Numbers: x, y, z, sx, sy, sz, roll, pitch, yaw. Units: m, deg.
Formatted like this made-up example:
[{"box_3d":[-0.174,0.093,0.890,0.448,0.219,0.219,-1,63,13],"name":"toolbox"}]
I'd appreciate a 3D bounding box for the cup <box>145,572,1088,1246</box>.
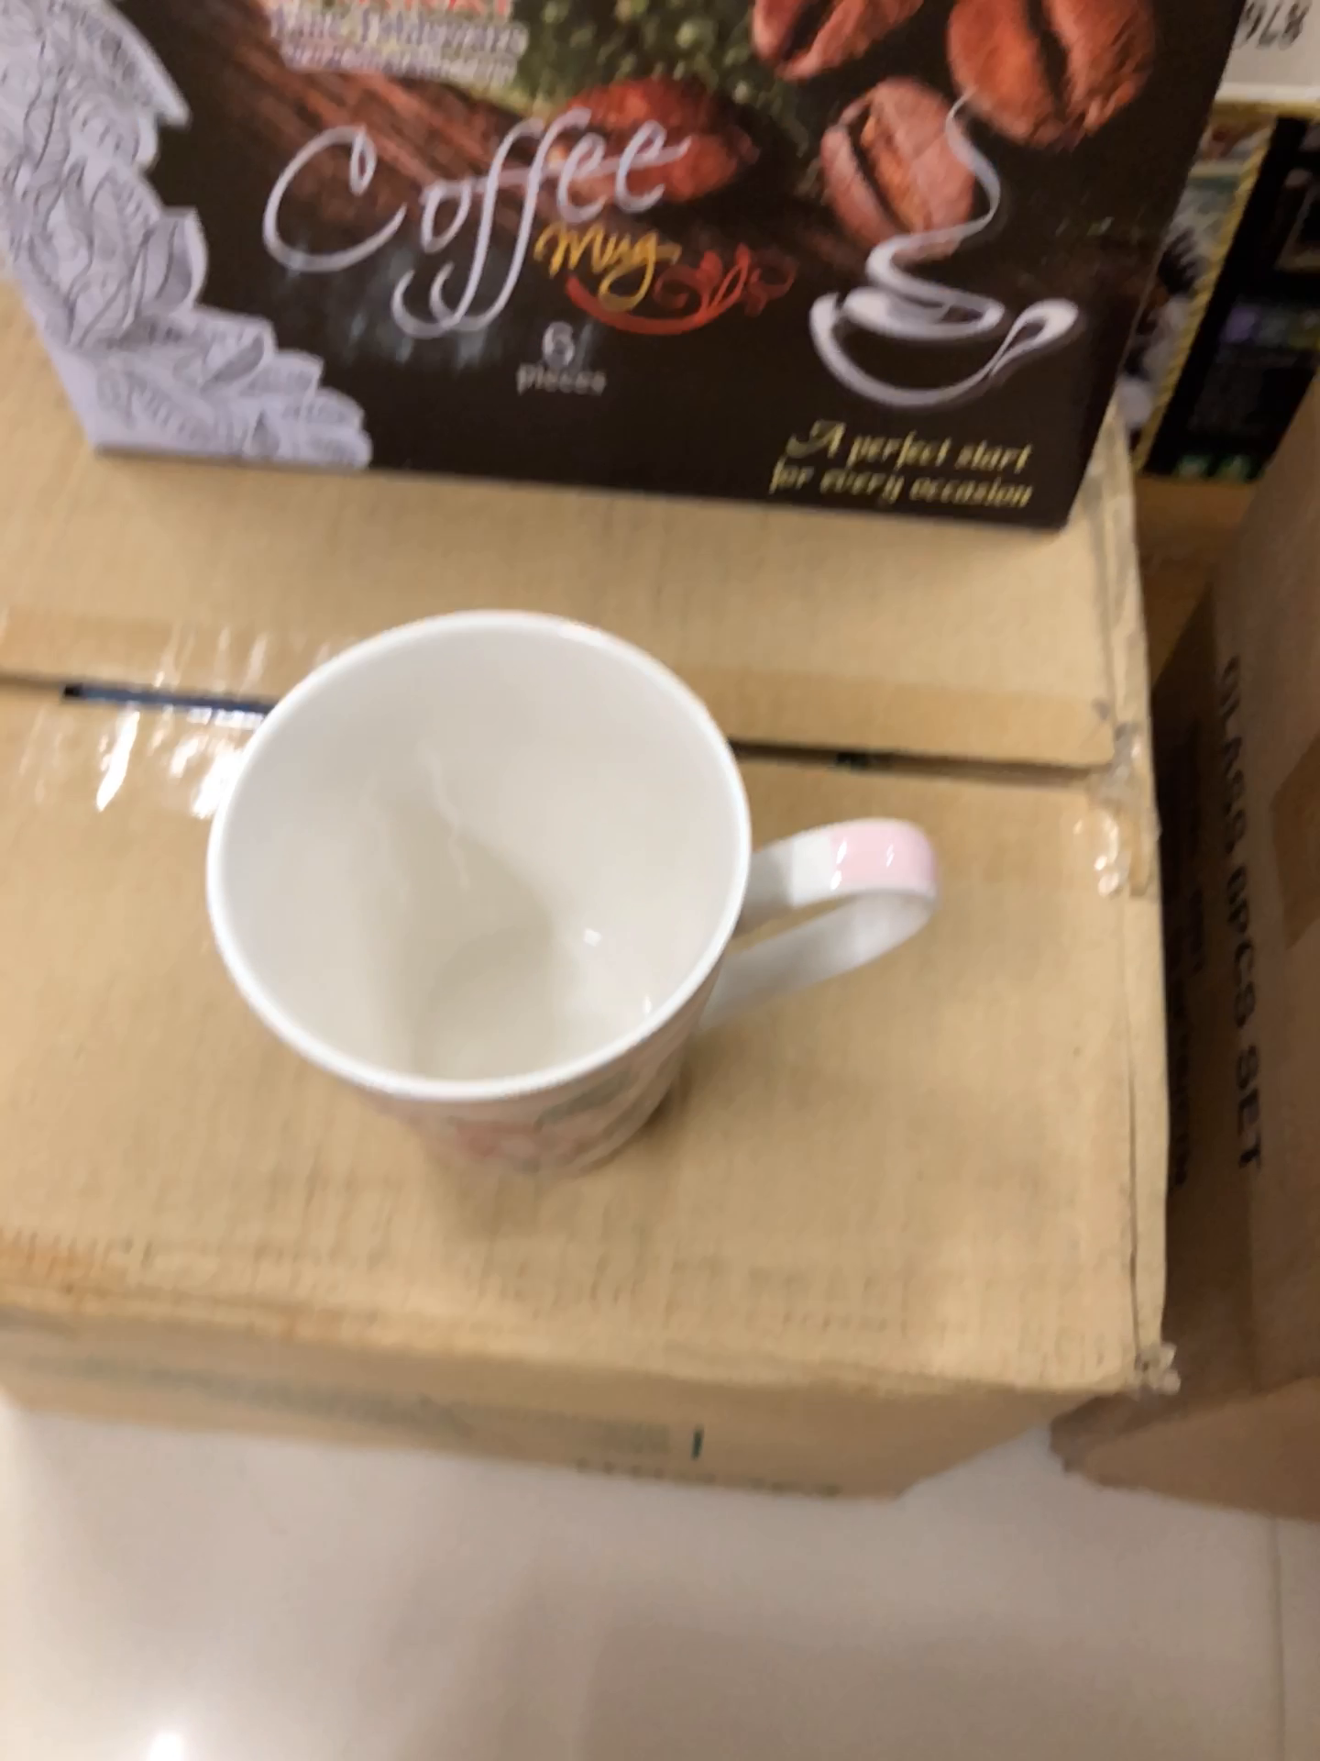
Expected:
[{"box_3d":[-0.006,0.010,0.264,0.130,0.090,0.090,0,64,0],"name":"cup"}]
